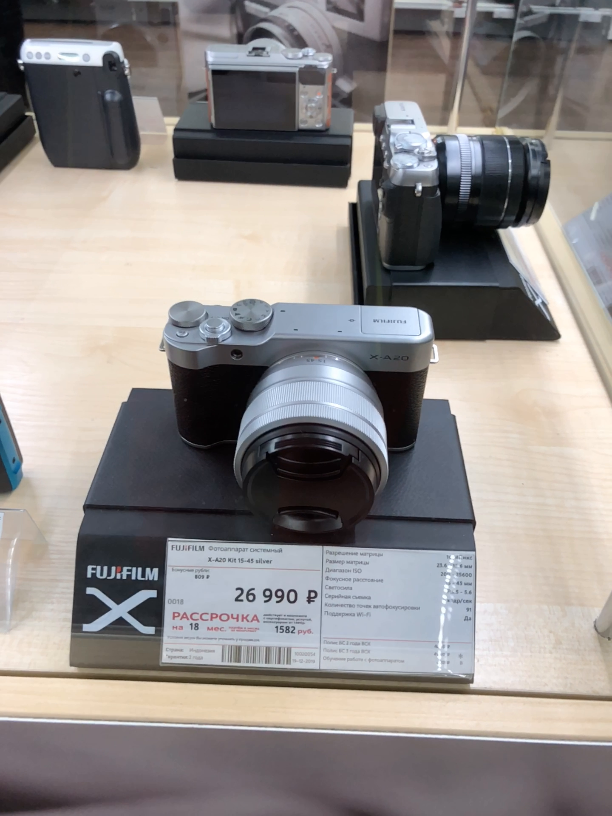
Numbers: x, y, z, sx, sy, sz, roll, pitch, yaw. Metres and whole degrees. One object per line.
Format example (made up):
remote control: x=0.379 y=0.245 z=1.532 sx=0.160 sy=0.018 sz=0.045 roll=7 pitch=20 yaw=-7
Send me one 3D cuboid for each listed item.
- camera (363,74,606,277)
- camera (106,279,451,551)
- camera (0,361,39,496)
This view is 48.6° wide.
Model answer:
camera: x=0.114 y=-0.178 z=0.499 sx=0.130 sy=0.074 sz=0.188 roll=1 pitch=41 yaw=0
camera: x=-0.009 y=0.000 z=0.293 sx=0.120 sy=0.070 sz=0.093 roll=2 pitch=41 yaw=1
camera: x=-0.199 y=0.012 z=0.342 sx=0.106 sy=0.064 sz=0.025 roll=2 pitch=41 yaw=1
